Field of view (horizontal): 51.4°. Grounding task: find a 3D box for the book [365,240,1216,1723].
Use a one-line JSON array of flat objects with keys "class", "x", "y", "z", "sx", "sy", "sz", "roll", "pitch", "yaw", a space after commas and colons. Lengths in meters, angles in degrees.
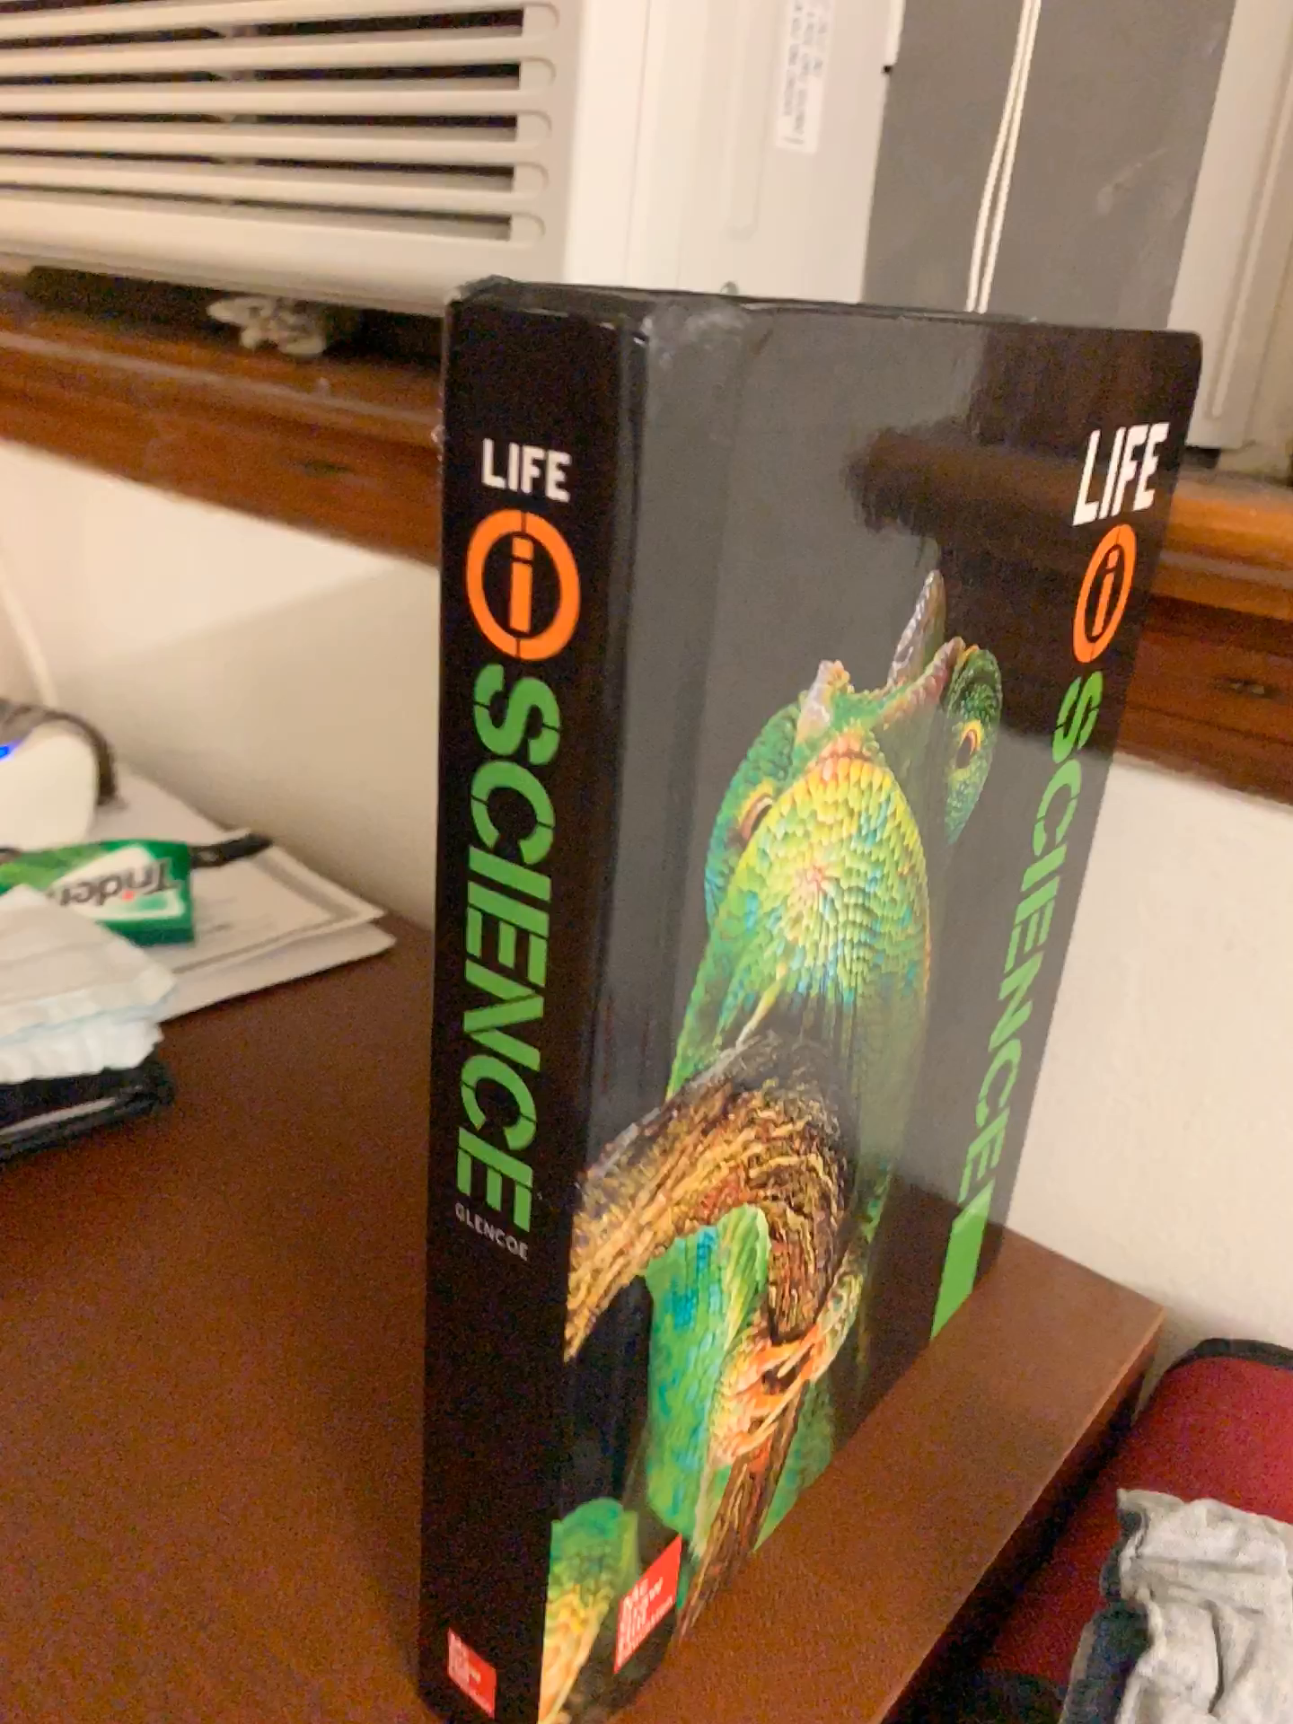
[{"class": "book", "x": 0.039, "y": 0.023, "z": 0.312, "sx": 0.051, "sy": 0.286, "sz": 0.227, "roll": 20, "pitch": 27, "yaw": 32}]
